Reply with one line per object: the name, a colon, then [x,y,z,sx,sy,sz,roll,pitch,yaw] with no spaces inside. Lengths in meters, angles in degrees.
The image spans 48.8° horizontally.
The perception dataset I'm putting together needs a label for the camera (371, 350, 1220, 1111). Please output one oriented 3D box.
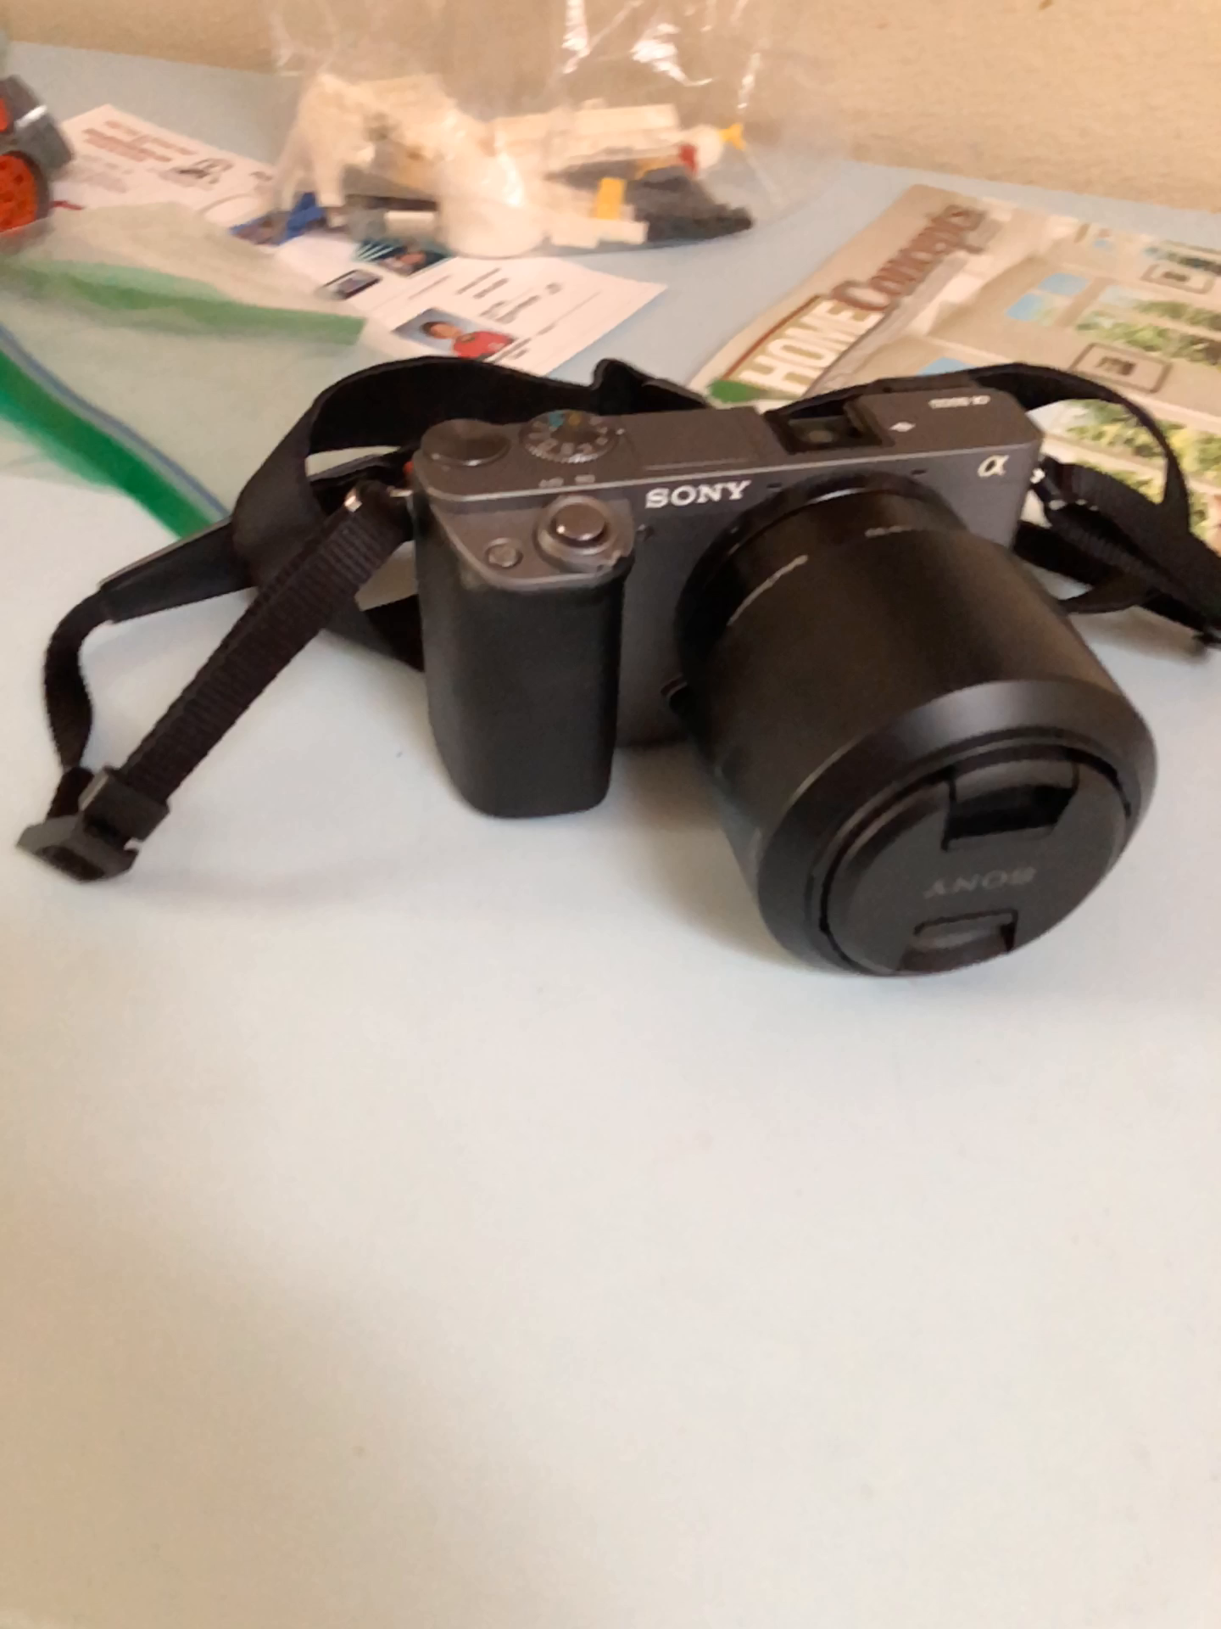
camera: [0.030,-0.022,0.245,0.130,0.070,0.111,-7,46,-11]
